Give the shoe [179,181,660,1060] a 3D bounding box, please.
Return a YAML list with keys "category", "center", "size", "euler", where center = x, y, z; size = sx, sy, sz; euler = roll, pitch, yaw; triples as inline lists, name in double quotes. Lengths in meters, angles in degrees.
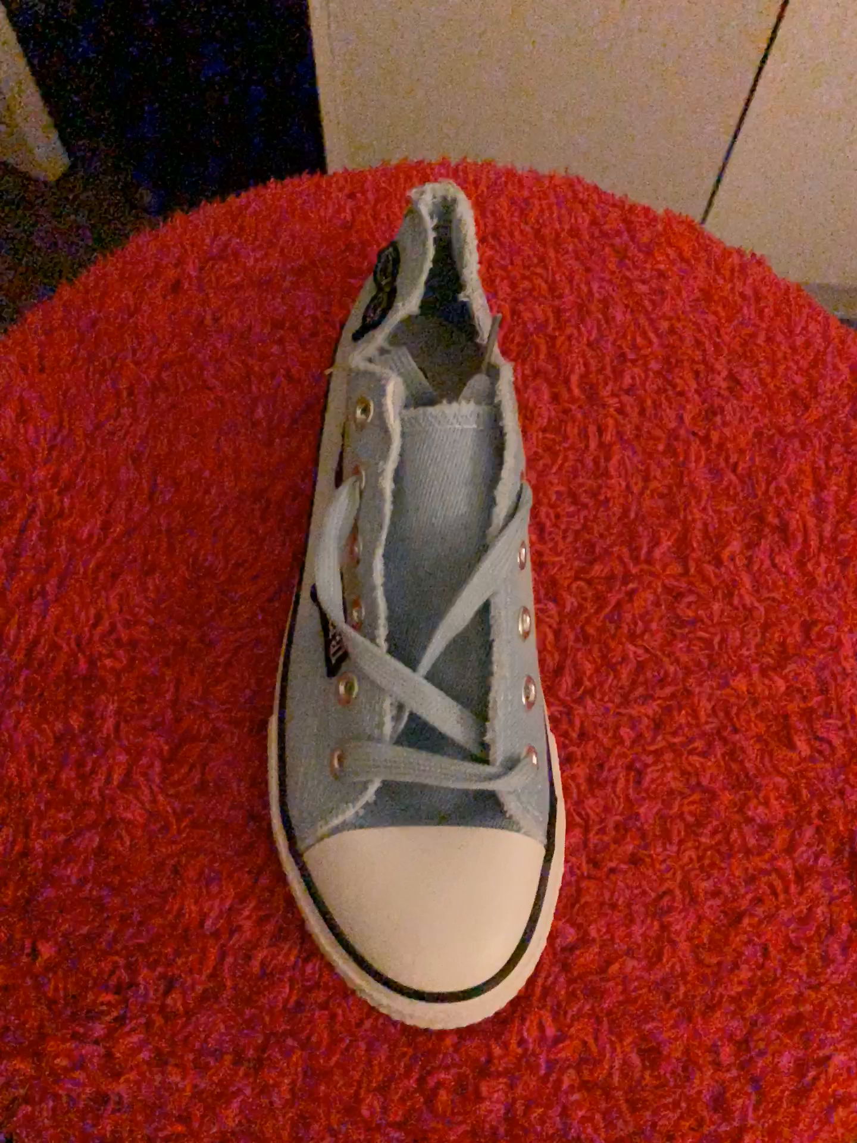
- category: "shoe"
  center: [-0.003, 0.004, 0.272]
  size: [0.097, 0.087, 0.251]
  euler: [0, 64, -1]
